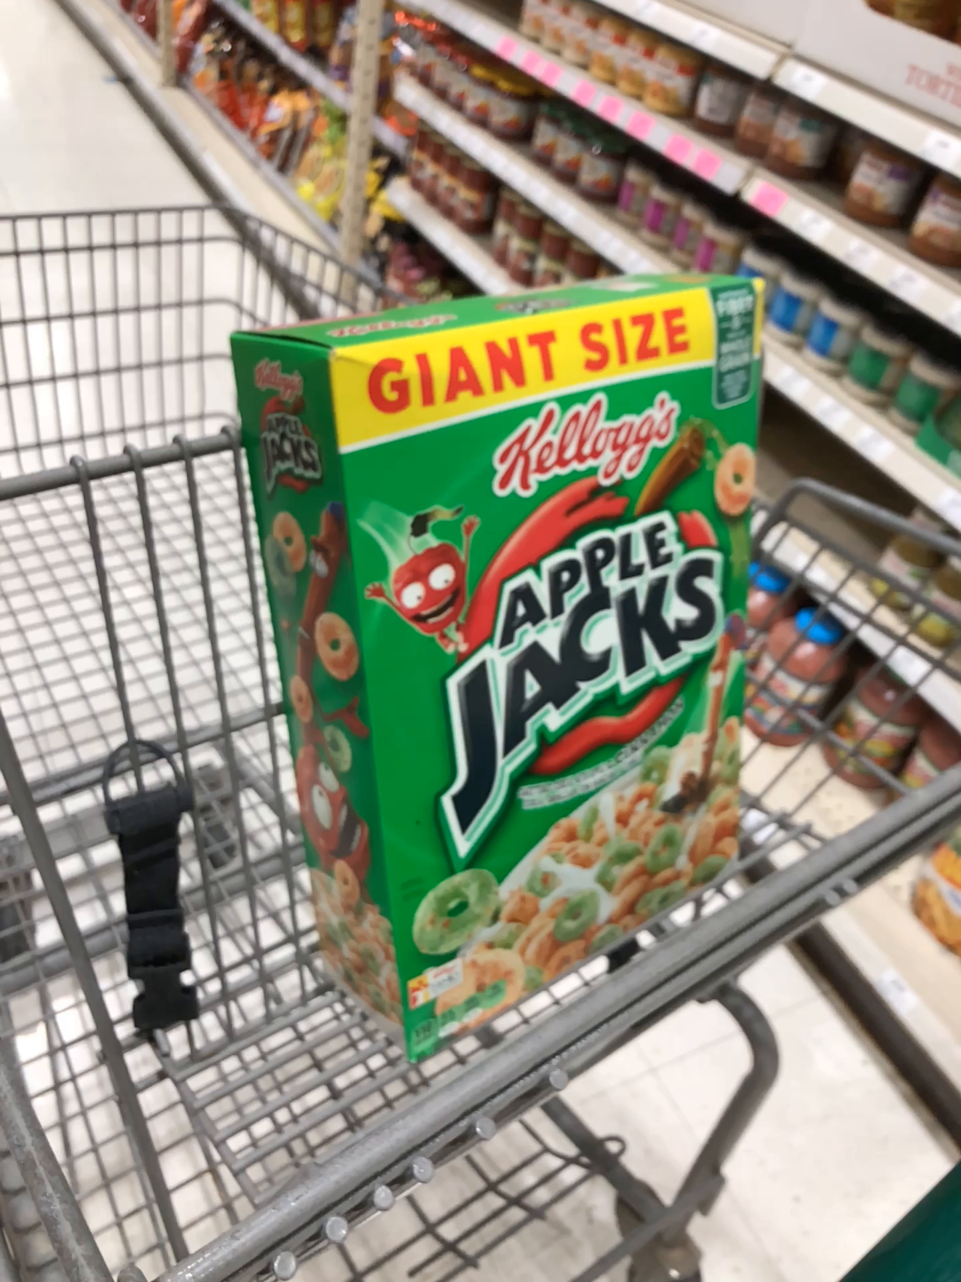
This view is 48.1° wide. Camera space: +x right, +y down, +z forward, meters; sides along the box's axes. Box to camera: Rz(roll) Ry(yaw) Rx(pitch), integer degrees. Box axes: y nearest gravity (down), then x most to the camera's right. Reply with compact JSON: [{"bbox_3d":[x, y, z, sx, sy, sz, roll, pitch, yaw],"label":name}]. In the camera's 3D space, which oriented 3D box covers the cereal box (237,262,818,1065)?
[{"bbox_3d":[0.039,-0.003,0.526,0.250,0.319,0.090,-20,28,-33],"label":"cereal box"}]
